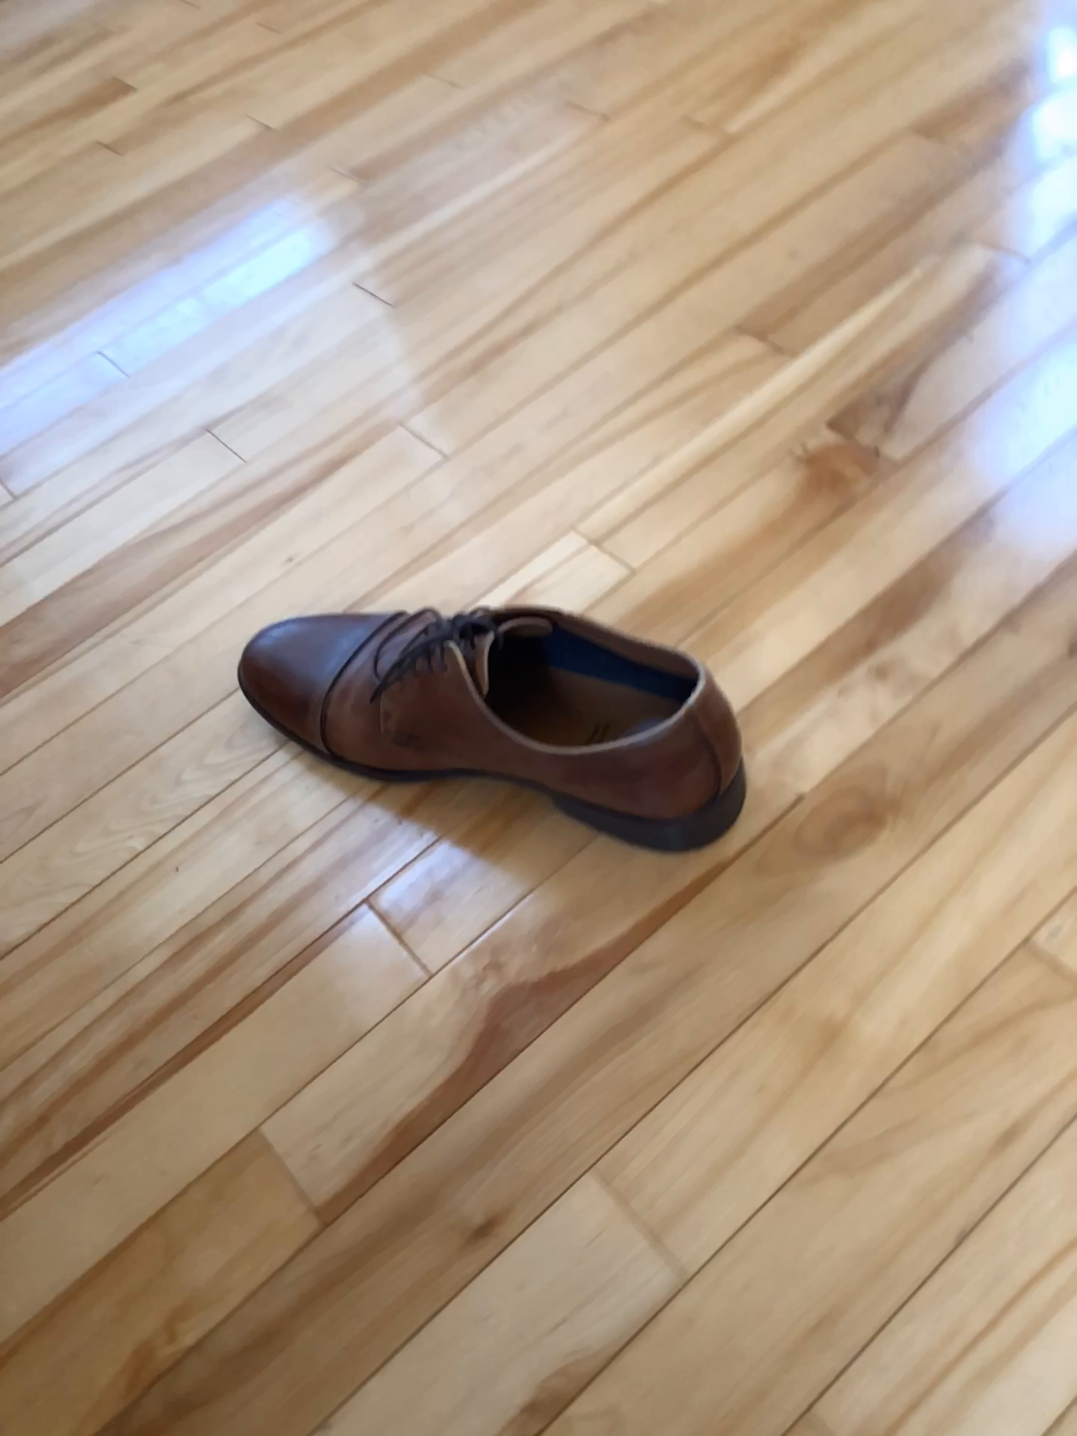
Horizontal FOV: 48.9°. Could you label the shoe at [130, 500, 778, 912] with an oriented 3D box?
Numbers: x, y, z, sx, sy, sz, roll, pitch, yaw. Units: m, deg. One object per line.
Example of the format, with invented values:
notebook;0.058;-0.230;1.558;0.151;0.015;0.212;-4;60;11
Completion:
shoe;-0.045;-0.015;0.611;0.311;0.100;0.100;16;59;25
